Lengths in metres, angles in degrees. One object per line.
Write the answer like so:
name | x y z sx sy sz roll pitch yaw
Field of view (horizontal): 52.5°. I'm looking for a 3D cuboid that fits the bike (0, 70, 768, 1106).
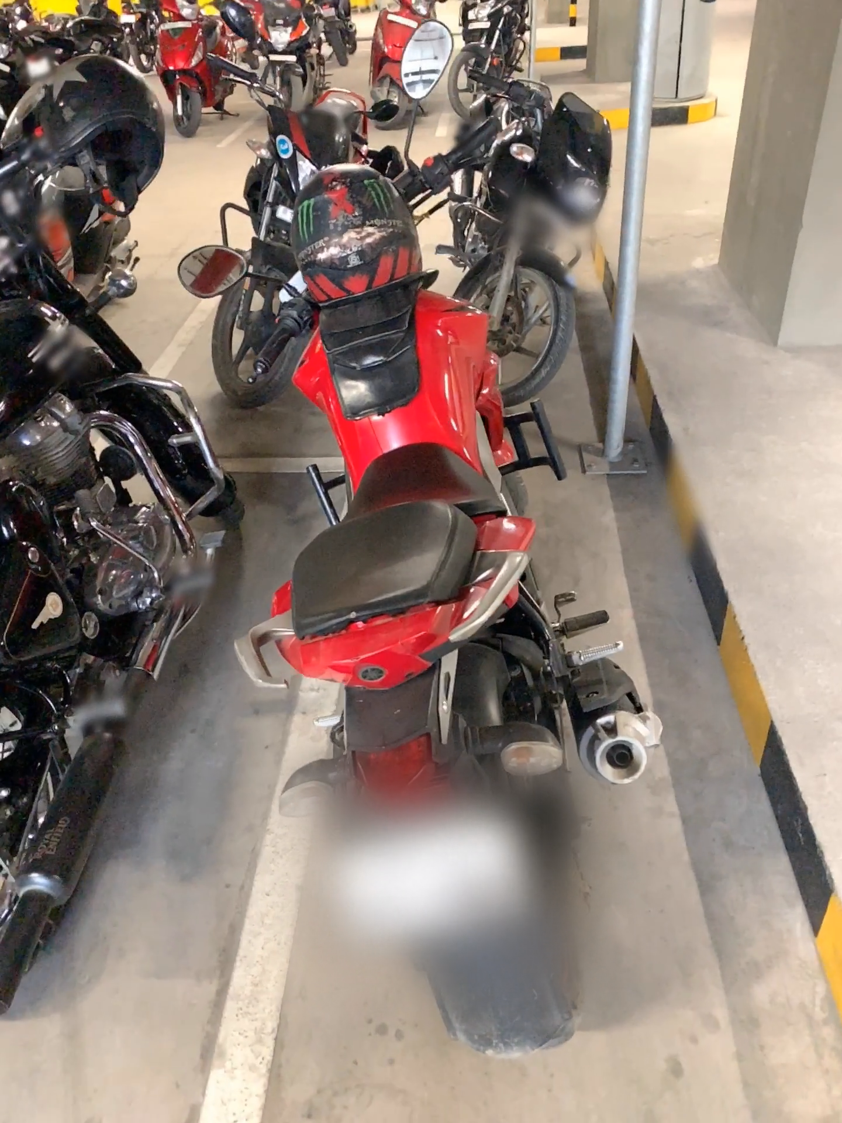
bike | -0.199 -0.149 1.646 0.676 1.121 1.692 -8 38 -6
